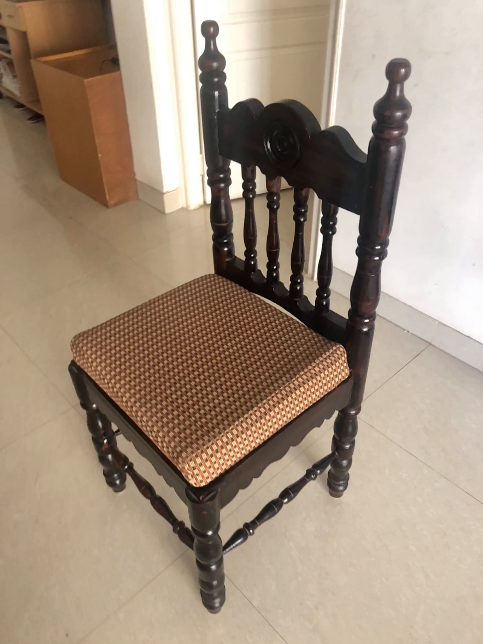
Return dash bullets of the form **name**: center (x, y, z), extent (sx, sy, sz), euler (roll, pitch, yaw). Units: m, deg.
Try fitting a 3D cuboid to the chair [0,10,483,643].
- **chair**: center (-0.016, 0.025, 1.064), extent (0.562, 1.022, 0.502), euler (-29, 47, -31)
